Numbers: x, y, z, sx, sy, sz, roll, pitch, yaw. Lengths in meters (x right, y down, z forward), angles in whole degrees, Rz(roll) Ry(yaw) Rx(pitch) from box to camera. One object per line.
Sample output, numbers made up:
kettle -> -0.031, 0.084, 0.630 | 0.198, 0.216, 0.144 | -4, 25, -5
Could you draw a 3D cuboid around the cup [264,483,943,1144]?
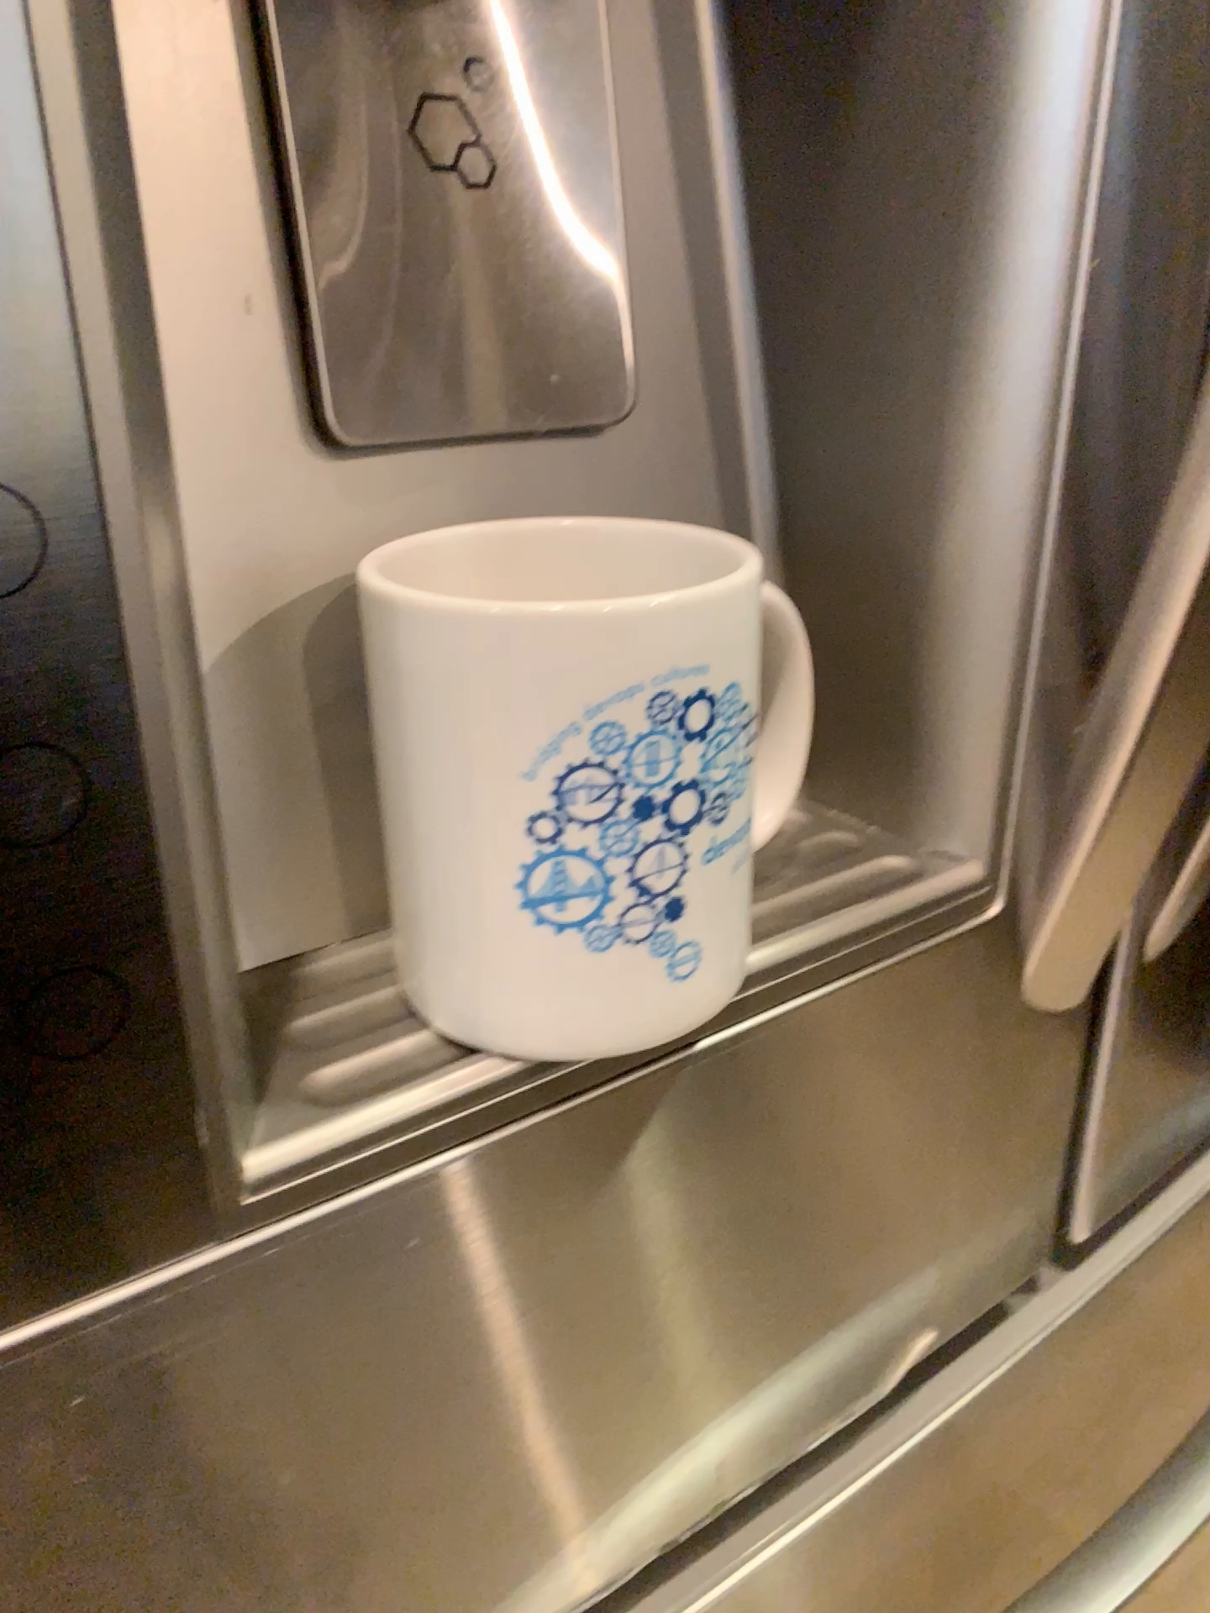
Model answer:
cup -> 0.002, -0.010, 0.283 | 0.120, 0.099, 0.080 | -20, 30, -38
